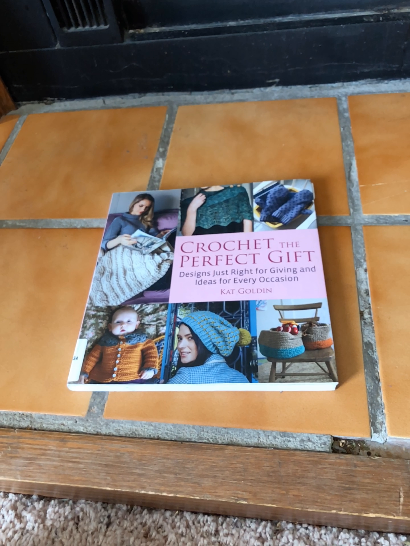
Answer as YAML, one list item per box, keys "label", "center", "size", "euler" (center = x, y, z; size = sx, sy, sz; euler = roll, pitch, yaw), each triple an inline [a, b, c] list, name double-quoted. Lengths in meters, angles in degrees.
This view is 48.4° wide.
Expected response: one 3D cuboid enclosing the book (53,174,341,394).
- label: "book"
  center: [-0.004, -0.001, 0.414]
  size: [0.217, 0.020, 0.221]
  euler: [-2, 53, 7]
